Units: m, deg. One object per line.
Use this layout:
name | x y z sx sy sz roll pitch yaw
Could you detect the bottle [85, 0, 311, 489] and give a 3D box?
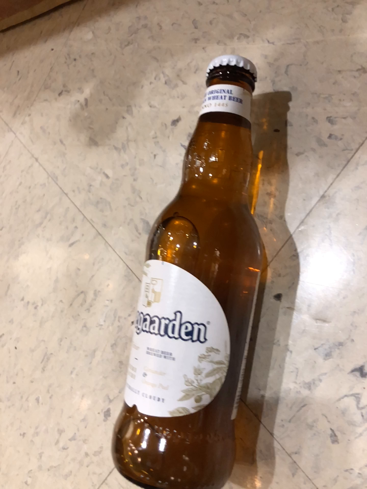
bottle | 0.011 0.002 0.215 0.070 0.050 0.230 3 81 37
